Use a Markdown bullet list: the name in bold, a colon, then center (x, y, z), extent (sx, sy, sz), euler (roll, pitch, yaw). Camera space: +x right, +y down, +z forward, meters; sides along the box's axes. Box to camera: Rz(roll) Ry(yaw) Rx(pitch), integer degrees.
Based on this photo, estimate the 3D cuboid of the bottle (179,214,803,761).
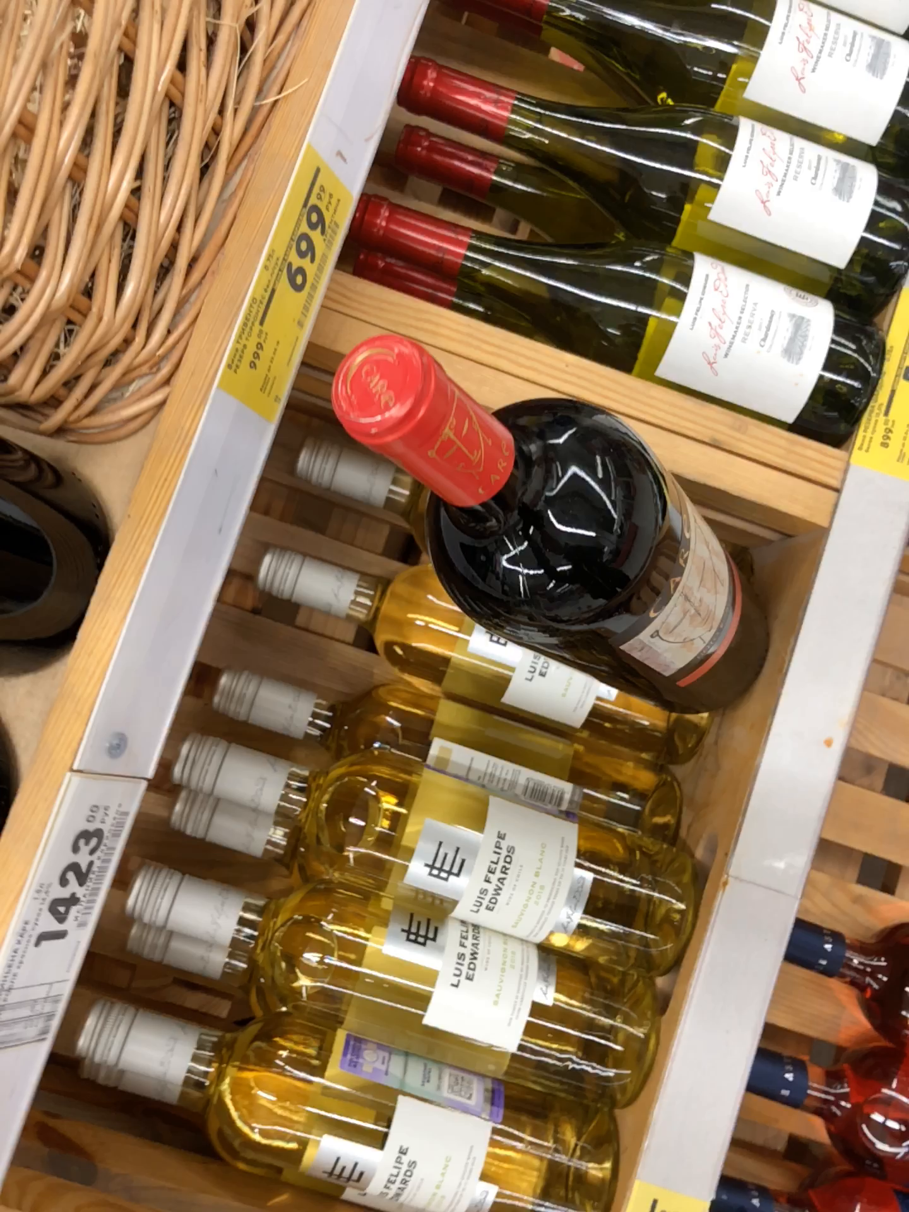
- **bottle**: center (0.057, -0.017, 0.434), extent (0.100, 0.359, 0.100), euler (-8, 73, 26)
